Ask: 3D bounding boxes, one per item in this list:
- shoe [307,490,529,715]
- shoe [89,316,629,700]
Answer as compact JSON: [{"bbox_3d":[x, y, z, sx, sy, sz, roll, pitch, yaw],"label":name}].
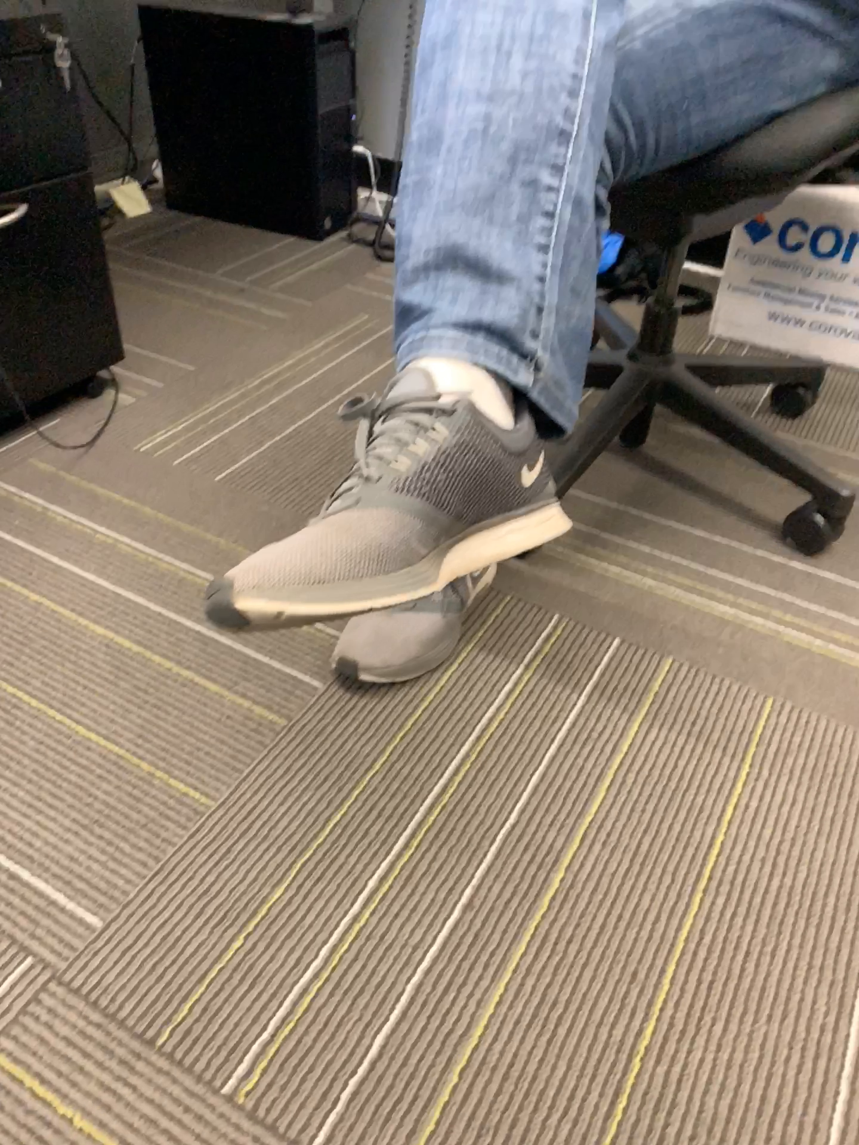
[{"bbox_3d":[-0.006,0.023,0.997,0.120,0.085,0.270,23,42,22],"label":"shoe"},{"bbox_3d":[-0.028,-0.051,0.556,0.296,0.143,0.122,-24,4,-41],"label":"shoe"}]
